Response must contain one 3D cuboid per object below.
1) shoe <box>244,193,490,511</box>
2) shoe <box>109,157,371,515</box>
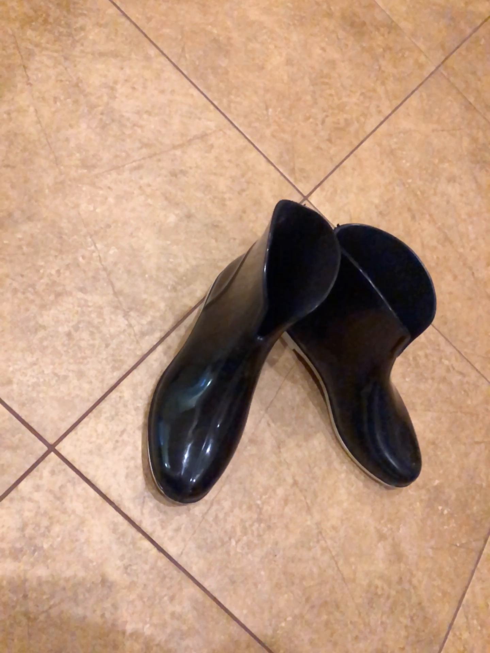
[{"bbox_3d":[0.129,0.035,0.496,0.090,0.169,0.240,-29,84,-31],"label":"shoe"},{"bbox_3d":[-0.005,0.017,0.445,0.090,0.169,0.241,27,62,-13],"label":"shoe"}]
